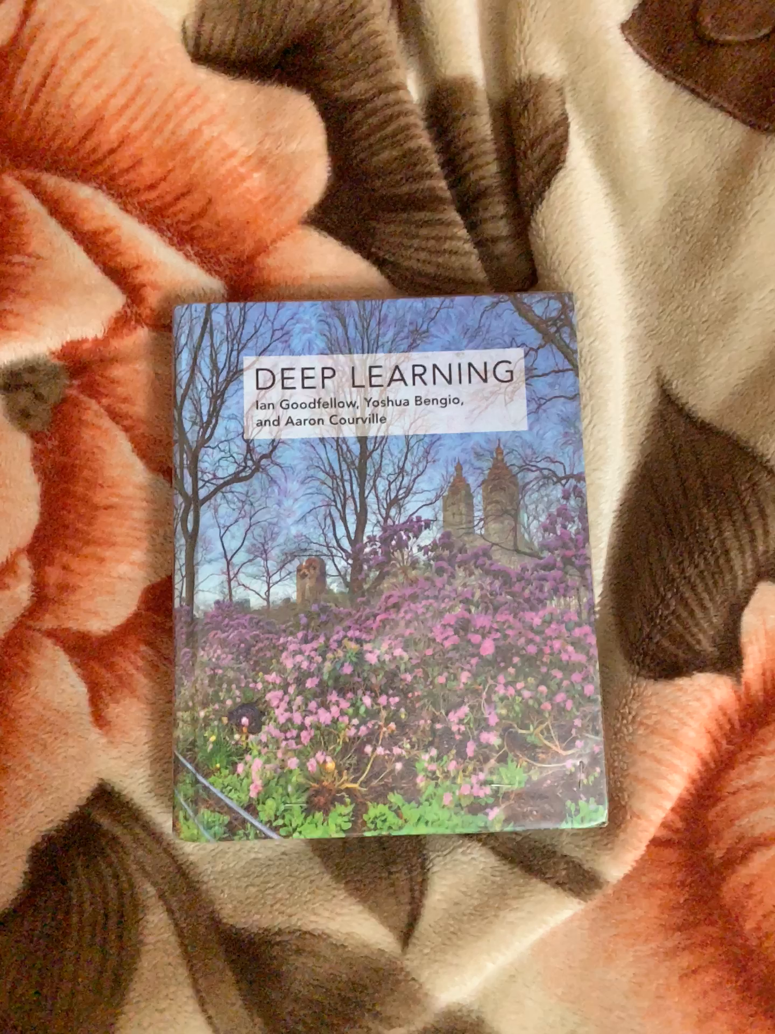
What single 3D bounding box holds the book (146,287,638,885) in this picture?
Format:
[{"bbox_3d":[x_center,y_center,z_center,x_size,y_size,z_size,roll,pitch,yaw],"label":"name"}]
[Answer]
[{"bbox_3d":[-0.002,0.025,0.373,0.210,0.030,0.260,-2,82,-3],"label":"book"}]
